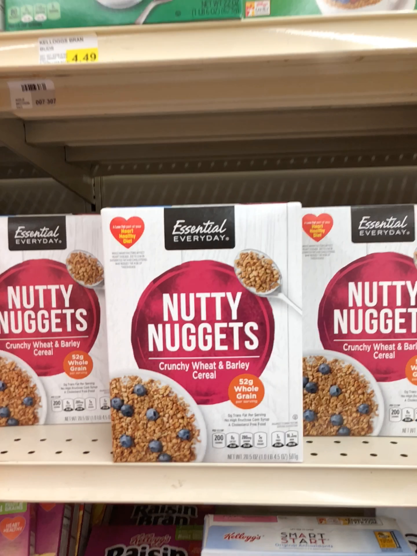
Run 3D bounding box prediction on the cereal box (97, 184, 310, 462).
[{"bbox_3d":[-0.002,0.039,0.406,0.170,0.230,0.050,-1,5,3],"label":"cereal box"}]
